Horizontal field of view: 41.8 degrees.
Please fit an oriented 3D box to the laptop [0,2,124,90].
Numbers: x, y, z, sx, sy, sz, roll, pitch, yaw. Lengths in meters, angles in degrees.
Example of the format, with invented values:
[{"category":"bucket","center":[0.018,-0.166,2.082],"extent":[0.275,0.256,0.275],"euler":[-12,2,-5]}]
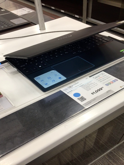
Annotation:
[{"category":"laptop","center":[0.032,-0.147,0.561],"extent":[0.390,0.116,0.235],"euler":[-27,51,-20]}]
